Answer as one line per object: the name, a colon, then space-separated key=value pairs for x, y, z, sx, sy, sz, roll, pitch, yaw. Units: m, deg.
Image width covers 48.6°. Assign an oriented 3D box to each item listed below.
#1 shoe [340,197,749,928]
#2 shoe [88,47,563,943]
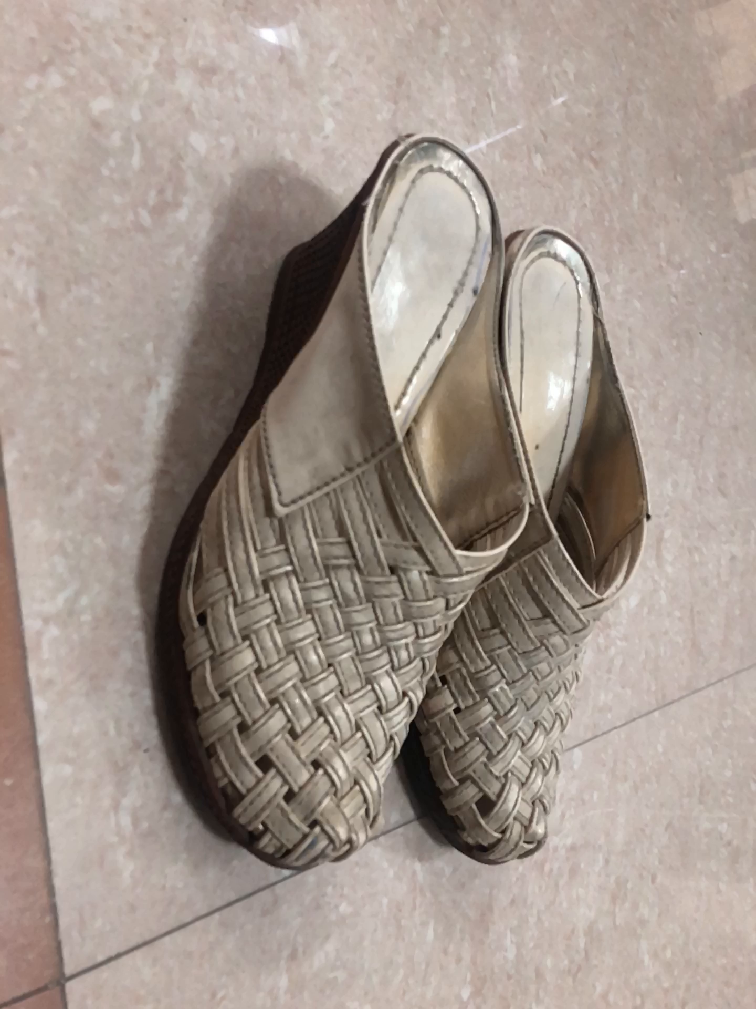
shoe: x=0.060 y=0.020 z=0.317 sx=0.100 sy=0.084 sz=0.221 roll=4 pitch=77 yaw=-43
shoe: x=-0.008 y=0.000 z=0.263 sx=0.100 sy=0.084 sz=0.225 roll=17 pitch=68 yaw=-40
